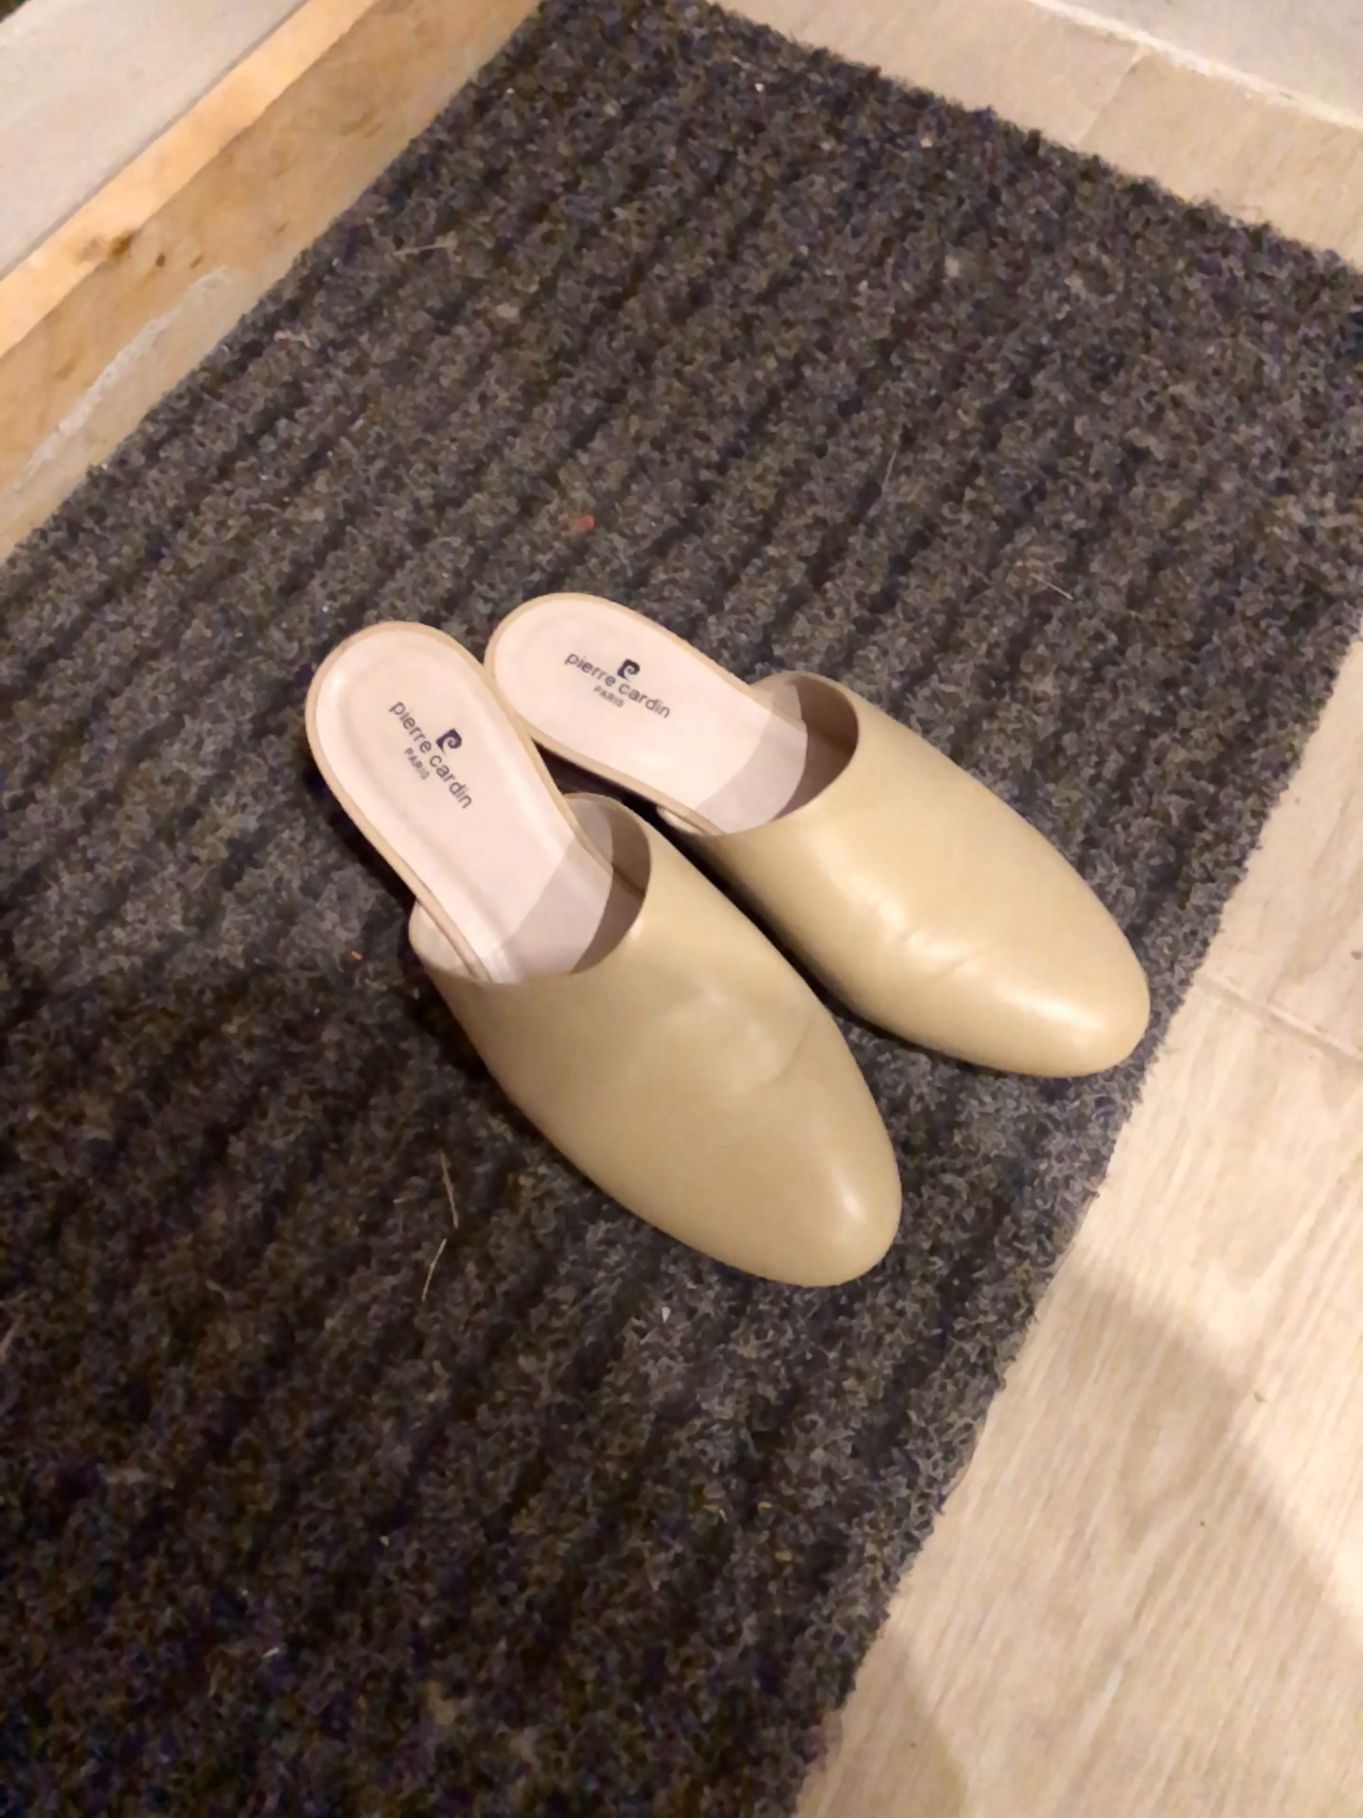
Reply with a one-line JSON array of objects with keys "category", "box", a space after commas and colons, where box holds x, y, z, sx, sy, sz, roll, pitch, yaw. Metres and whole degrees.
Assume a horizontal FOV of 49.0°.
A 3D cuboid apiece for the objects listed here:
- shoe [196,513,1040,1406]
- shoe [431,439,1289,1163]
[{"category": "shoe", "box": [-0.025, 0.009, 0.432, 0.090, 0.070, 0.250, -37, 71, -16]}, {"category": "shoe", "box": [0.048, -0.038, 0.478, 0.250, 0.070, 0.090, 35, 70, 14]}]
